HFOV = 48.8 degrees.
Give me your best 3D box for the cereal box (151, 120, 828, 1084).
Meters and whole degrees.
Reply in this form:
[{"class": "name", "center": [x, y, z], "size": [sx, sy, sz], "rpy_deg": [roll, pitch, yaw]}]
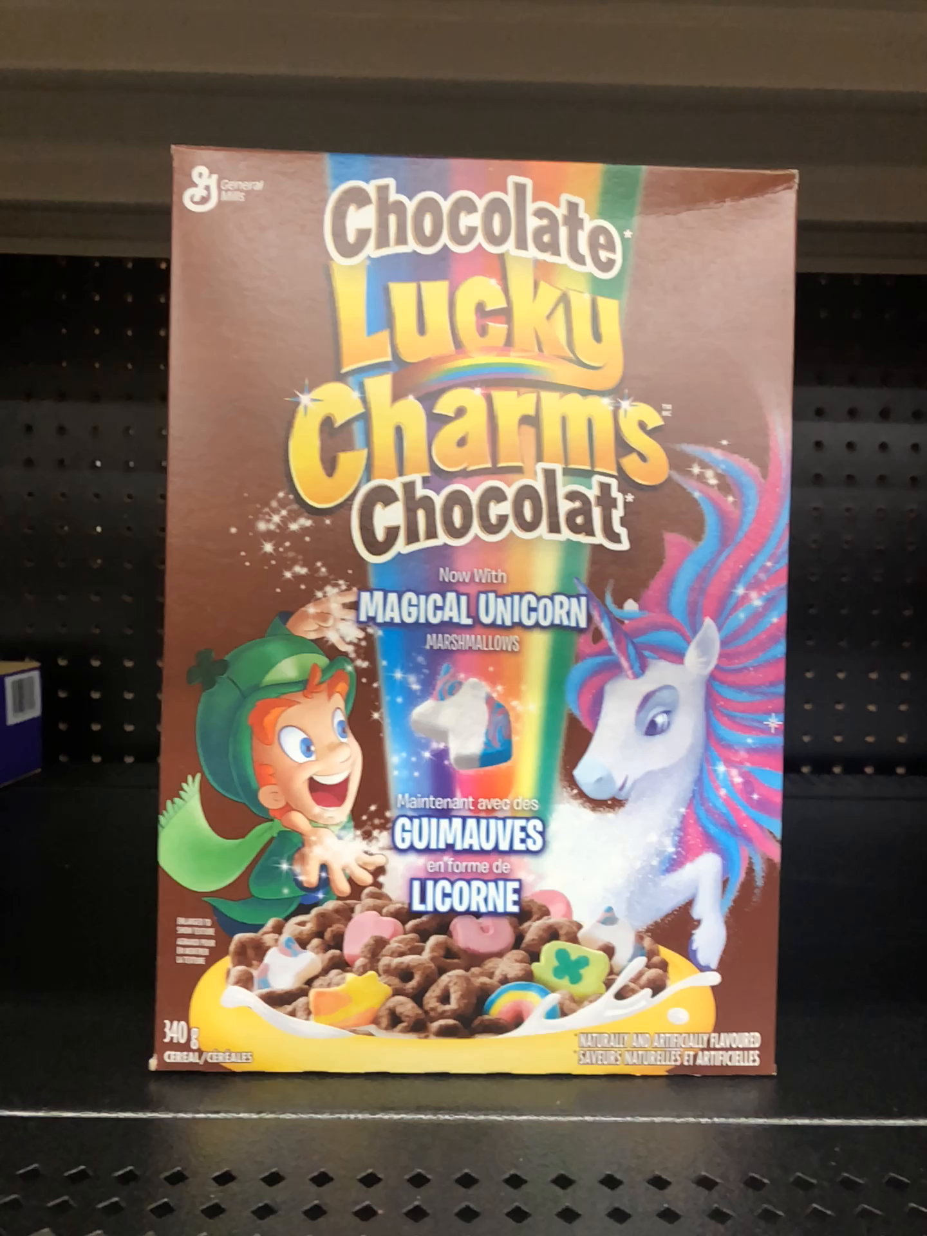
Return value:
[{"class": "cereal box", "center": [0.008, -0.005, 0.342], "size": [0.200, 0.290, 0.060], "rpy_deg": [1, 0, 0]}]
